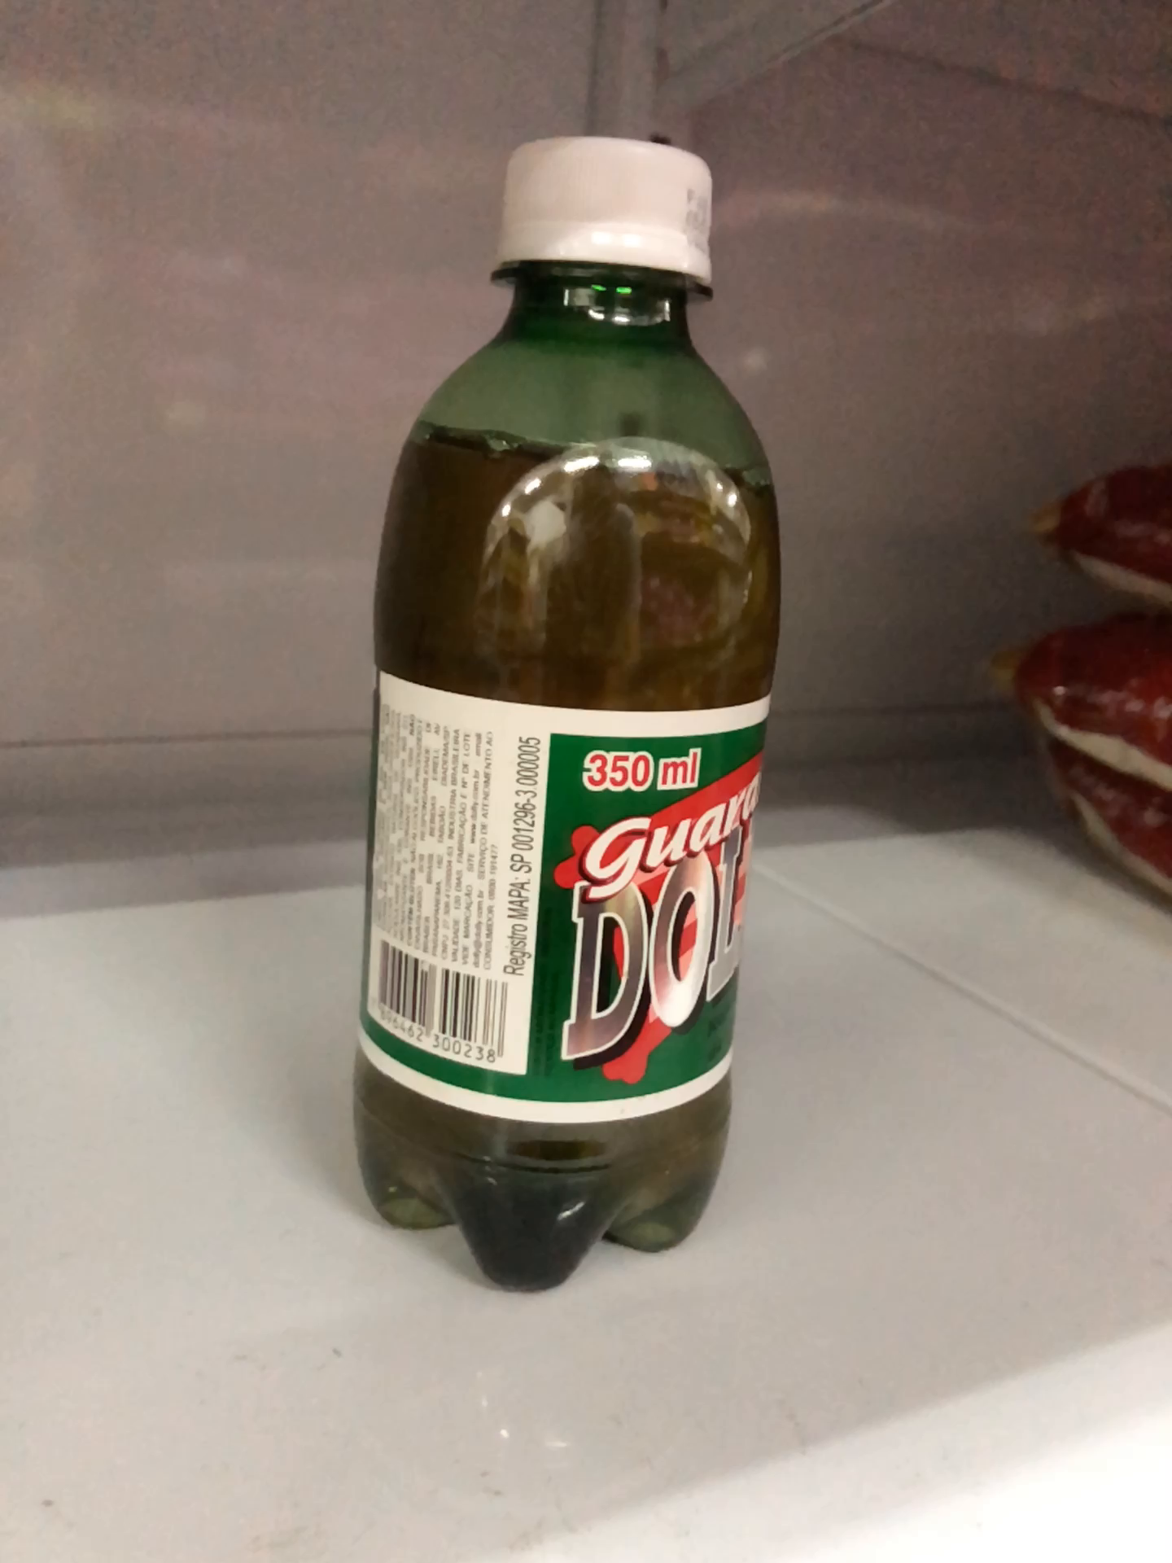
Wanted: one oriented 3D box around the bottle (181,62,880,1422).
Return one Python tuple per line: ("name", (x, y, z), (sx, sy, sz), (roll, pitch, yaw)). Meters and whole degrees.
("bottle", (-0.011, -0.008, 0.219), (0.070, 0.179, 0.080), (14, 18, 30))
